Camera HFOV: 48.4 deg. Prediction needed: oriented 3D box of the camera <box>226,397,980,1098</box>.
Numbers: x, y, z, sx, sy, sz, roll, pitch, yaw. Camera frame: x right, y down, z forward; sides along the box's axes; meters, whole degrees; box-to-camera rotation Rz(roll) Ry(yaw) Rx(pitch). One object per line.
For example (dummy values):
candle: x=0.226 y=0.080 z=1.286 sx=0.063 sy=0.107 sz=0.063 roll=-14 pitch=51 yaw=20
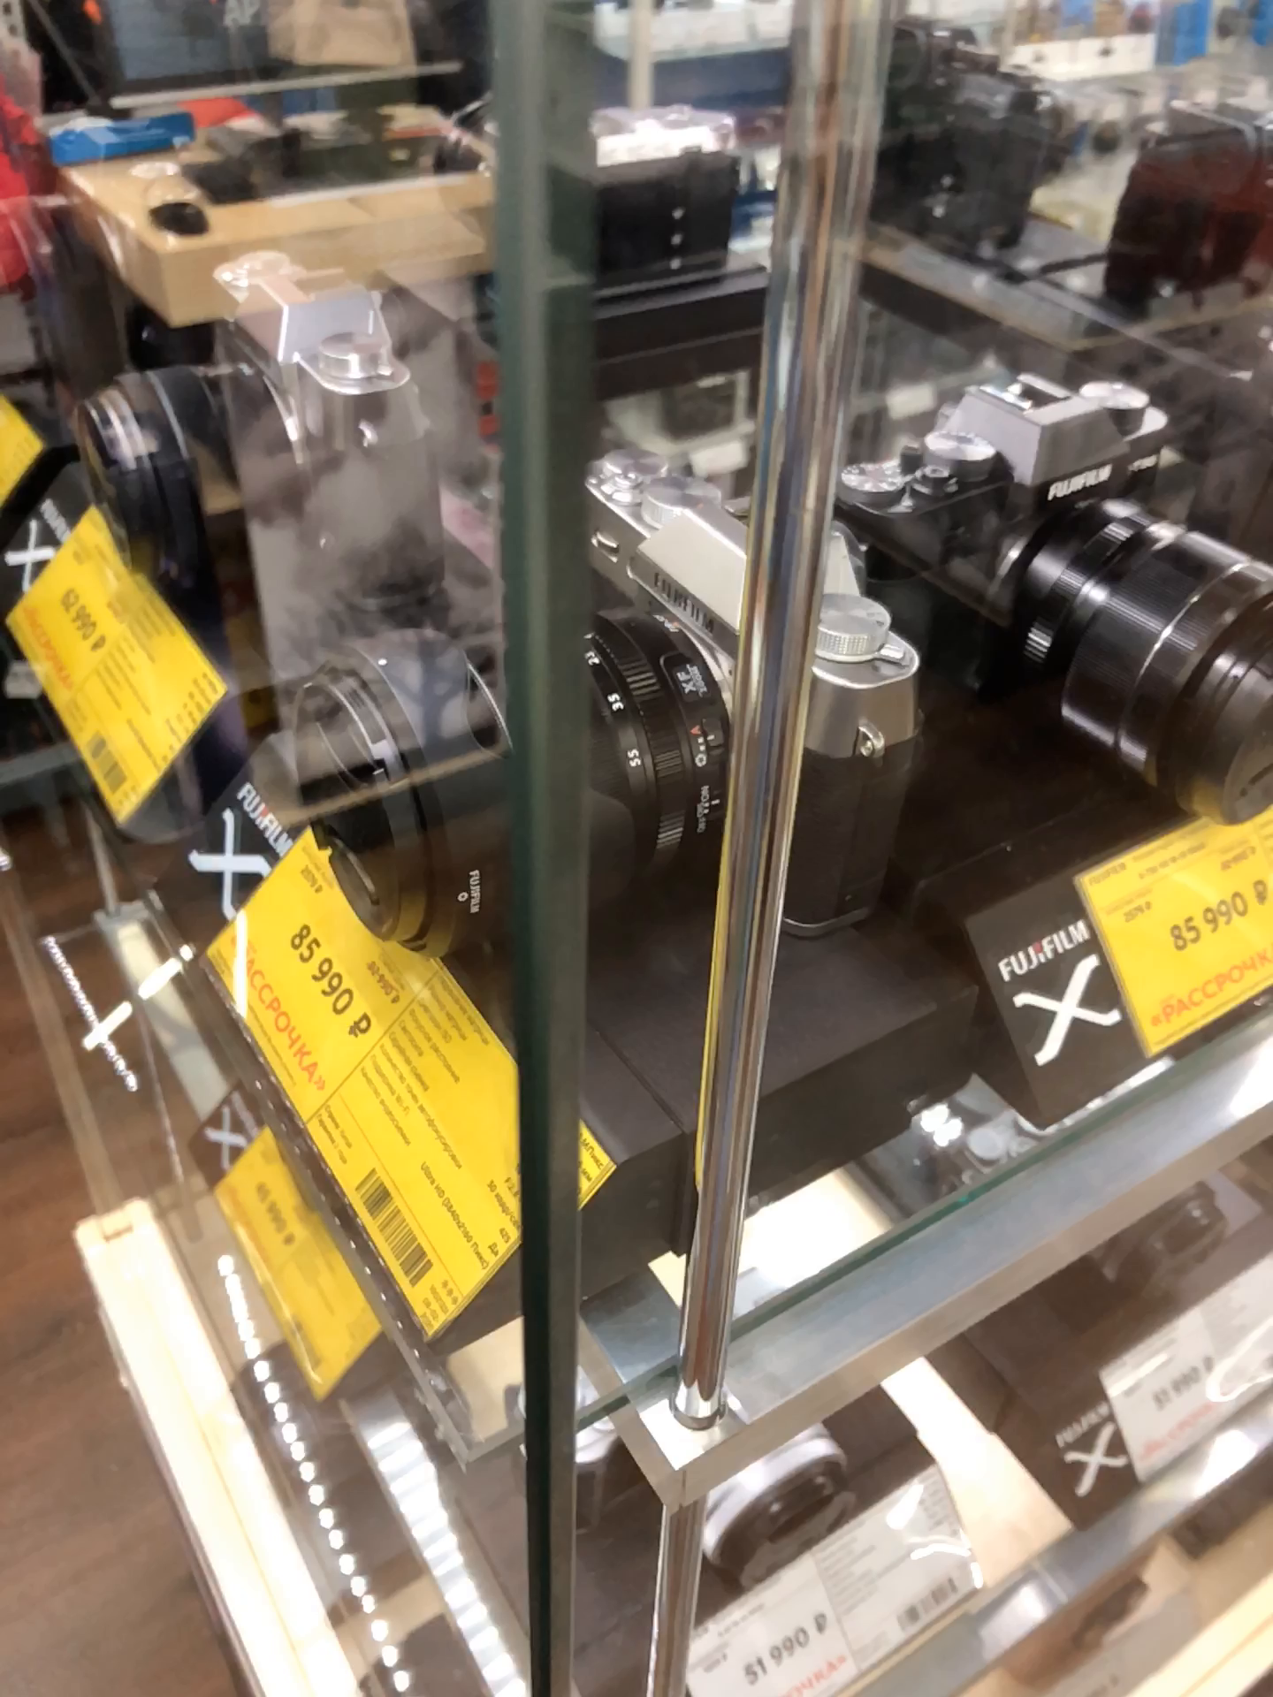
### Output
camera: x=-0.013 y=-0.033 z=0.339 sx=0.121 sy=0.088 sz=0.121 roll=-20 pitch=45 yaw=-26

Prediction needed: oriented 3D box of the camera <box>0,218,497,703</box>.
camera: x=-0.123 y=-0.130 z=0.453 sx=0.104 sy=0.088 sz=0.135 roll=-20 pitch=45 yaw=-26

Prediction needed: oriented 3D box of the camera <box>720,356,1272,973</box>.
camera: x=0.121 y=-0.061 z=0.393 sx=0.145 sy=0.088 sz=0.123 roll=-21 pitch=46 yaw=-27
